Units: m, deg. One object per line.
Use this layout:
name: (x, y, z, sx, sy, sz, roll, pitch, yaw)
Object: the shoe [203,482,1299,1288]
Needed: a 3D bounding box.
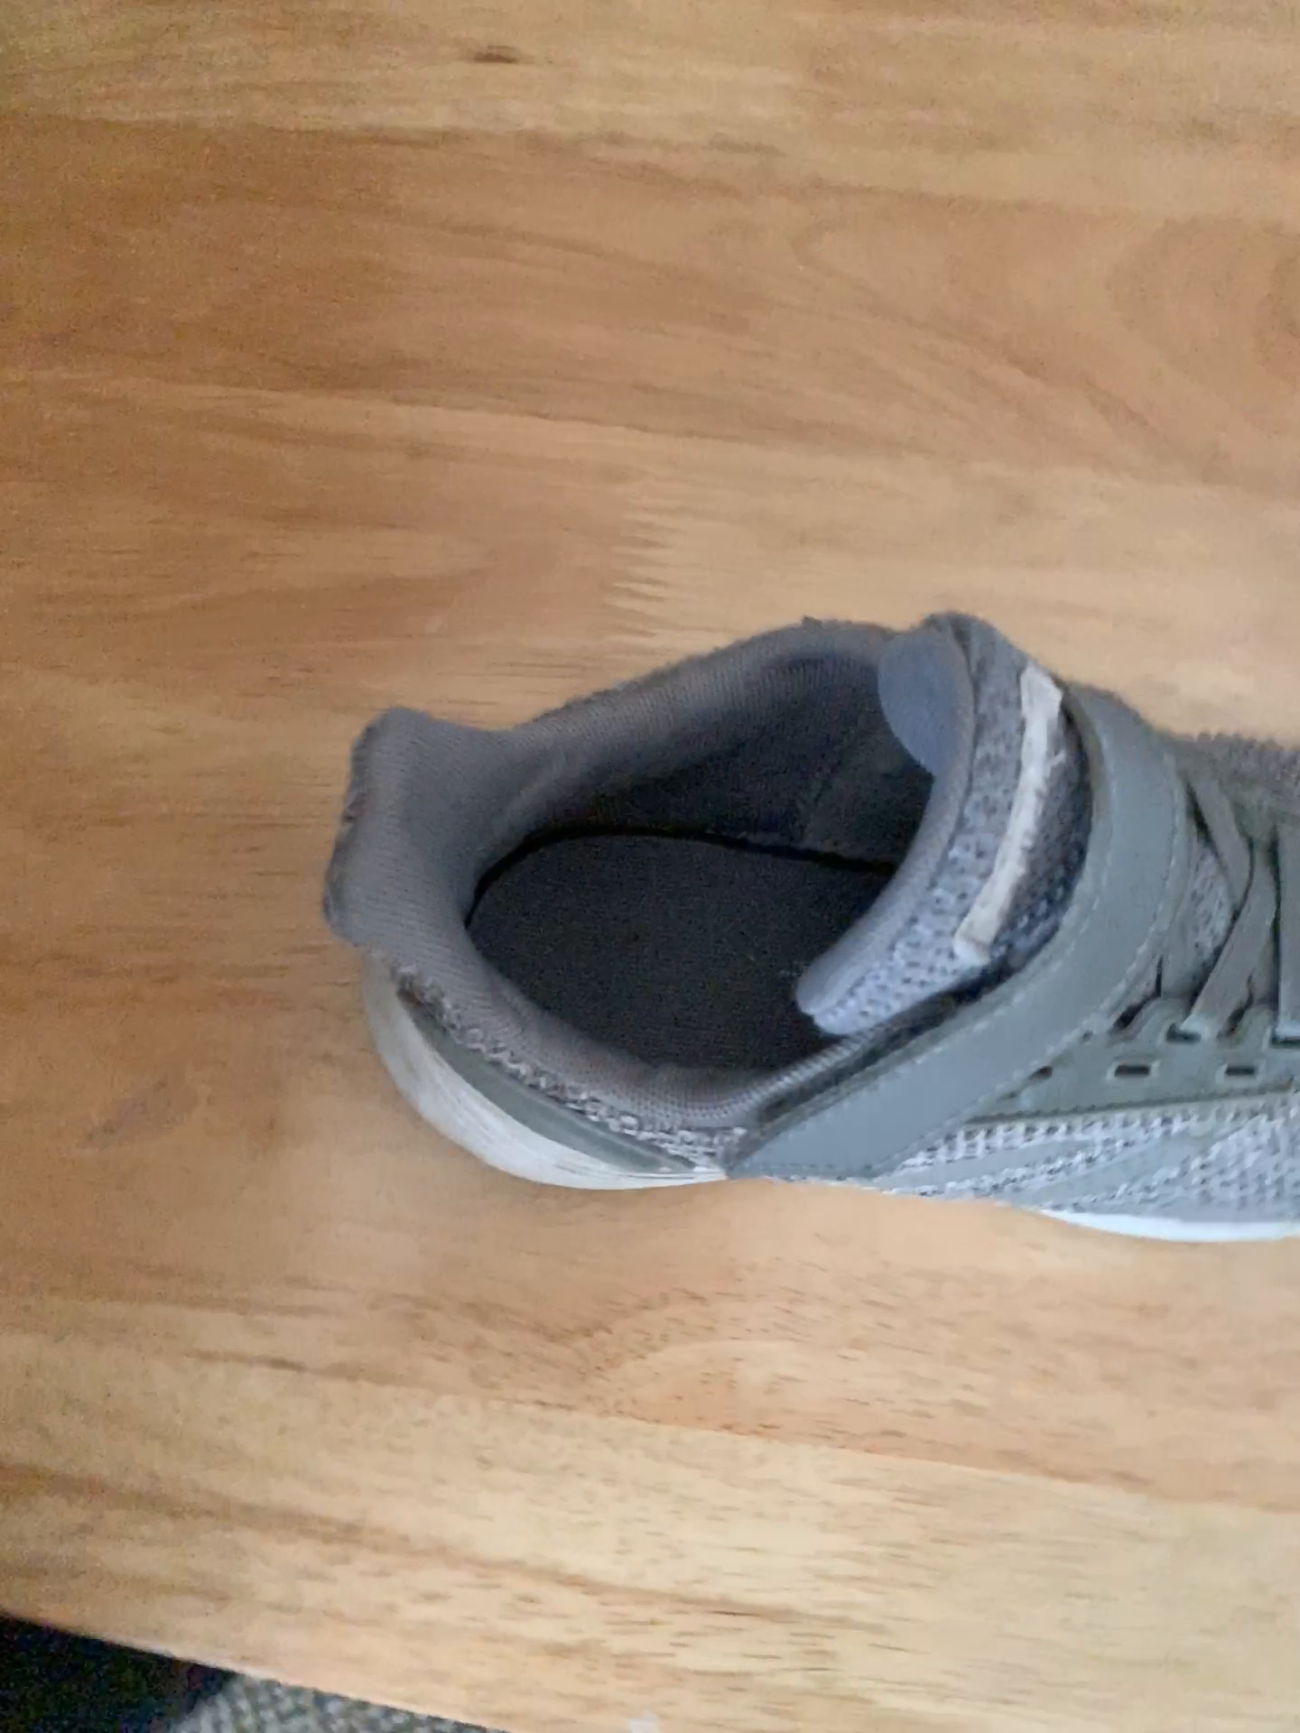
shoe: (0.062, 0.008, 0.198, 0.220, 0.080, 0.090, 2, 78, 0)
